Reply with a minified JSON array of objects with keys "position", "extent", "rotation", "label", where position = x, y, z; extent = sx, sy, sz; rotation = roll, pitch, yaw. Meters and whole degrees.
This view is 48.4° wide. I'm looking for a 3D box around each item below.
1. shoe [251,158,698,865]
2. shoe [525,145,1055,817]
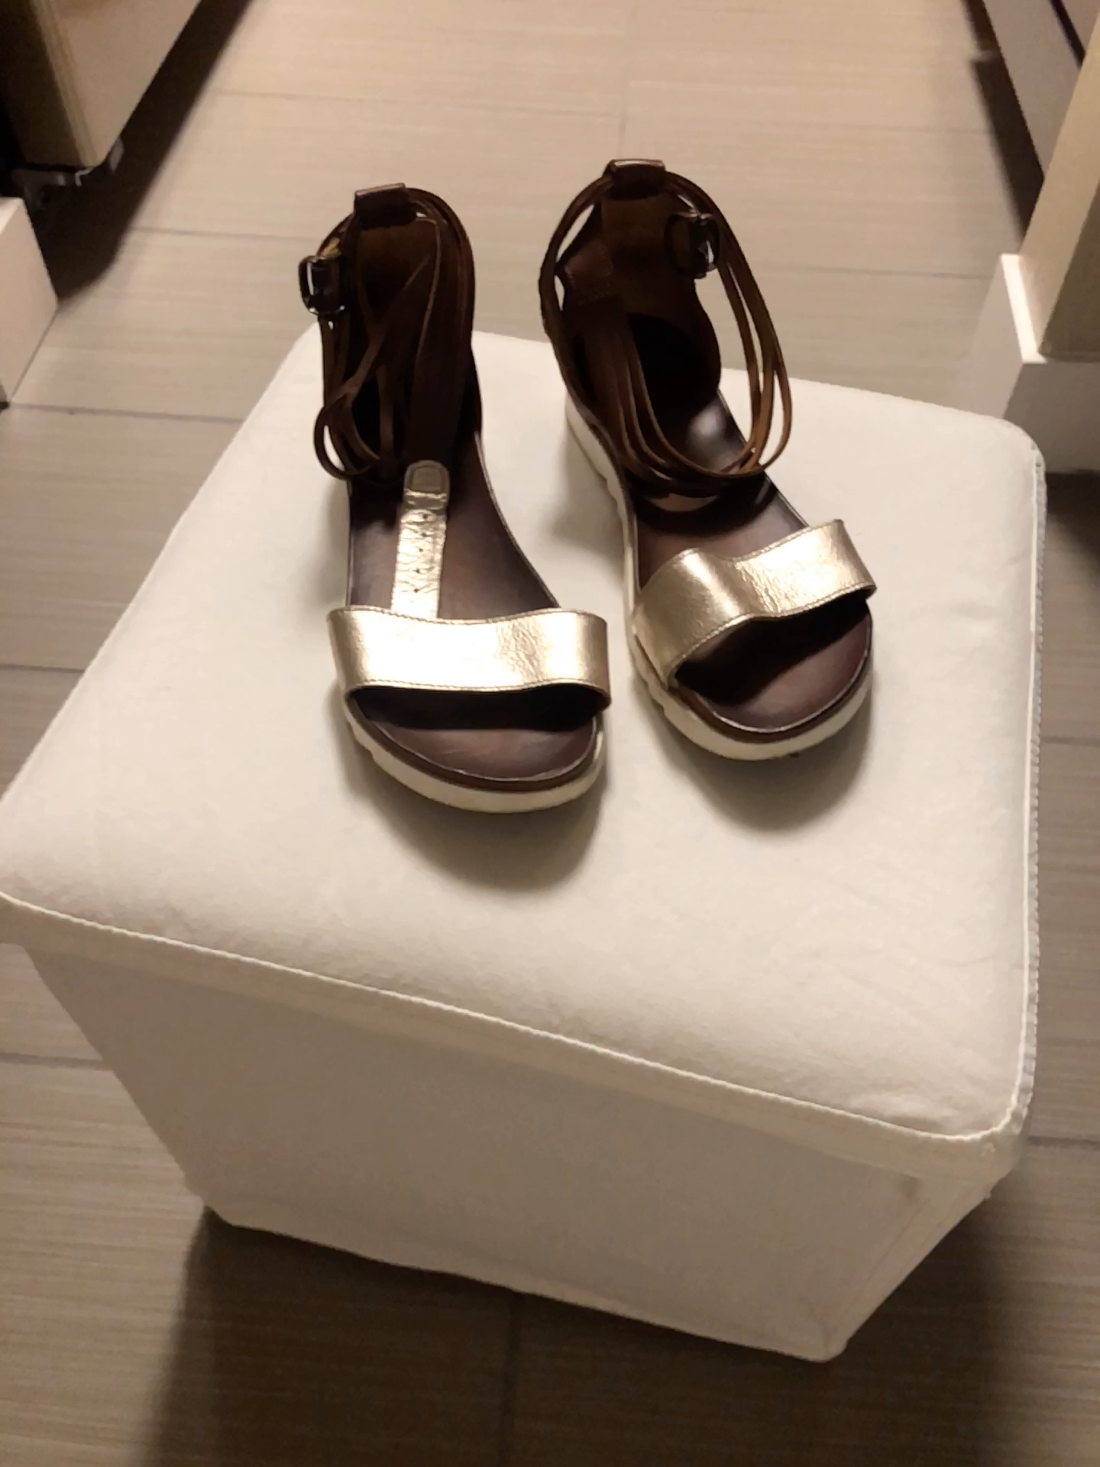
[{"position":[-0.038,-0.095,0.445],"extent":[0.110,0.090,0.261],"rotation":[-9,53,-7],"label":"shoe"},{"position":[0.068,-0.109,0.465],"extent":[0.110,0.090,0.261],"rotation":[-9,53,-7],"label":"shoe"}]
